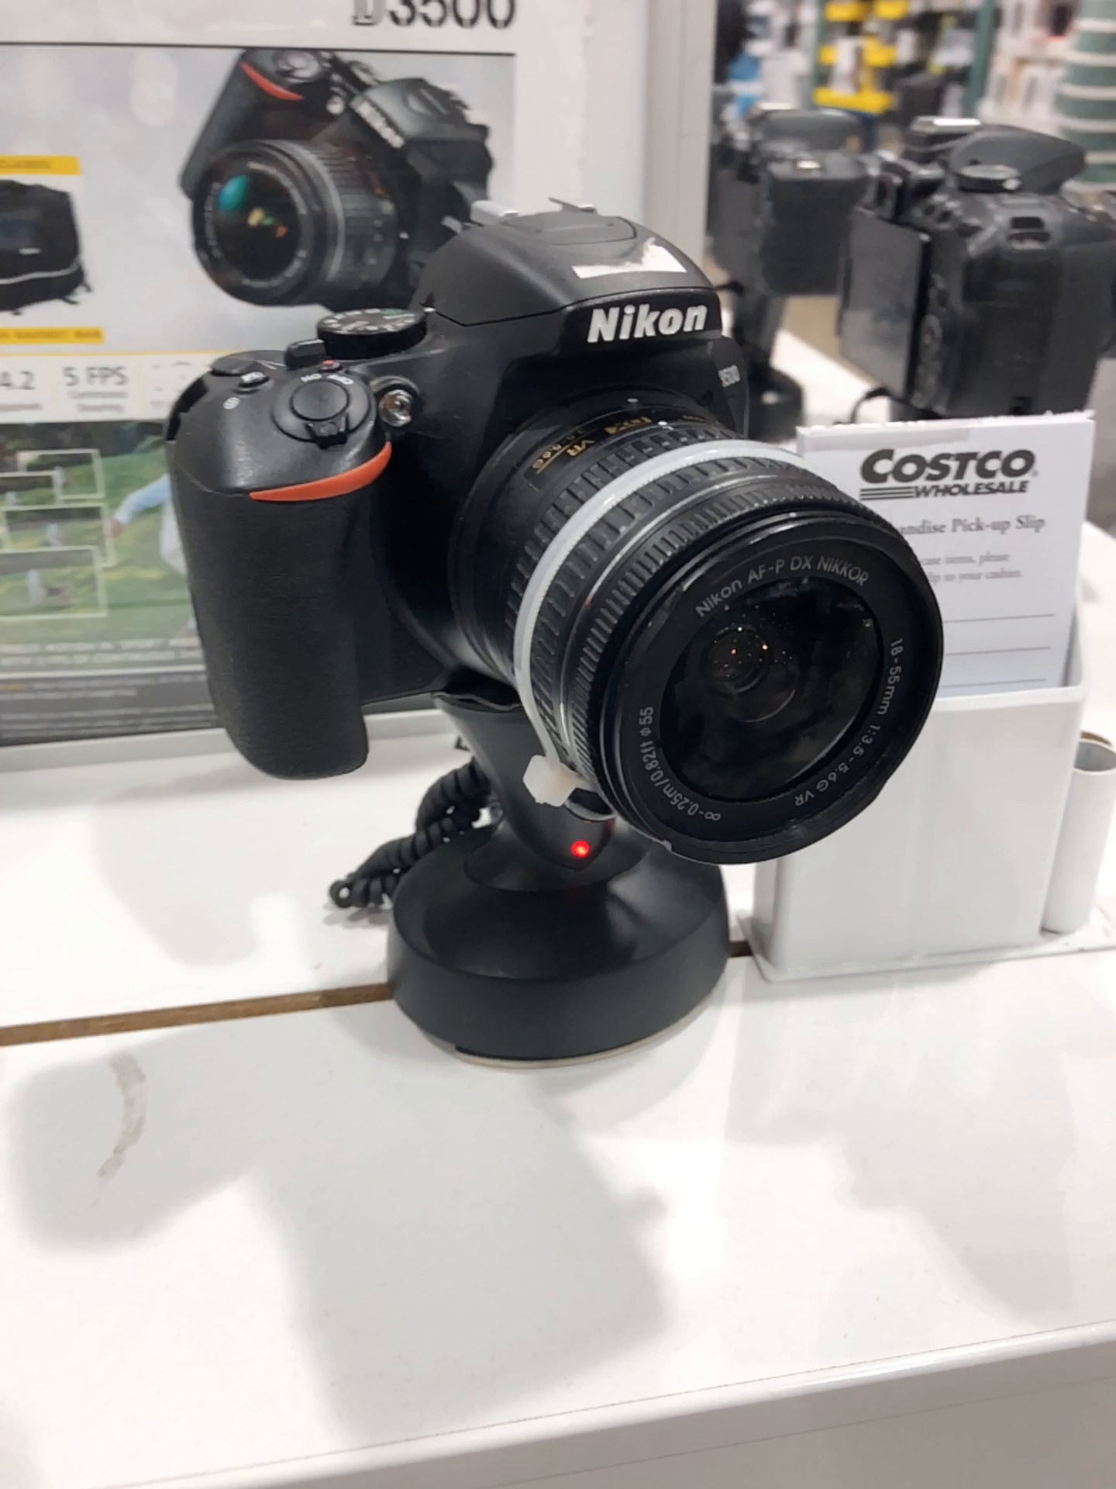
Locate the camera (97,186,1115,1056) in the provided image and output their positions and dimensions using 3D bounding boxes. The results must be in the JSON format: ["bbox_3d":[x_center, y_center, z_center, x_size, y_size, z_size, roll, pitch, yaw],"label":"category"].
[{"bbox_3d":[0.005,-0.040,0.231,0.140,0.100,0.120,-13,32,-22],"label":"camera"}]
